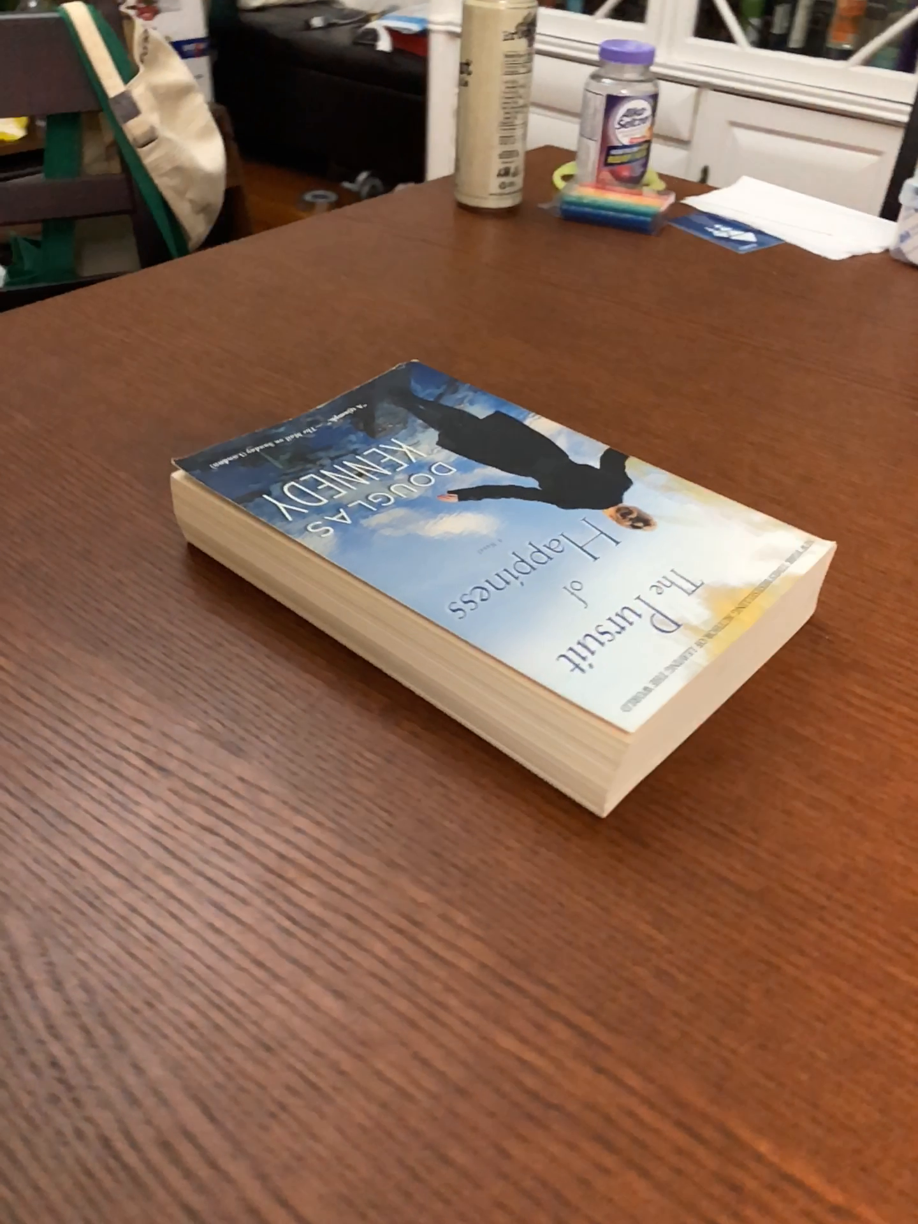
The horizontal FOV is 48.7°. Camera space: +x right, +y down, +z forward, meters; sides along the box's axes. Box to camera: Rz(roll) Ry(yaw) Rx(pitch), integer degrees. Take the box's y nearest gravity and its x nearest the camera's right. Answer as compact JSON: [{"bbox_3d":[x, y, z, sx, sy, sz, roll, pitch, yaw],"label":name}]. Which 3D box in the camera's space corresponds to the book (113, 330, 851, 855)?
[{"bbox_3d":[0.004,-0.032,0.408,0.240,0.050,0.161,30,46,30],"label":"book"}]
